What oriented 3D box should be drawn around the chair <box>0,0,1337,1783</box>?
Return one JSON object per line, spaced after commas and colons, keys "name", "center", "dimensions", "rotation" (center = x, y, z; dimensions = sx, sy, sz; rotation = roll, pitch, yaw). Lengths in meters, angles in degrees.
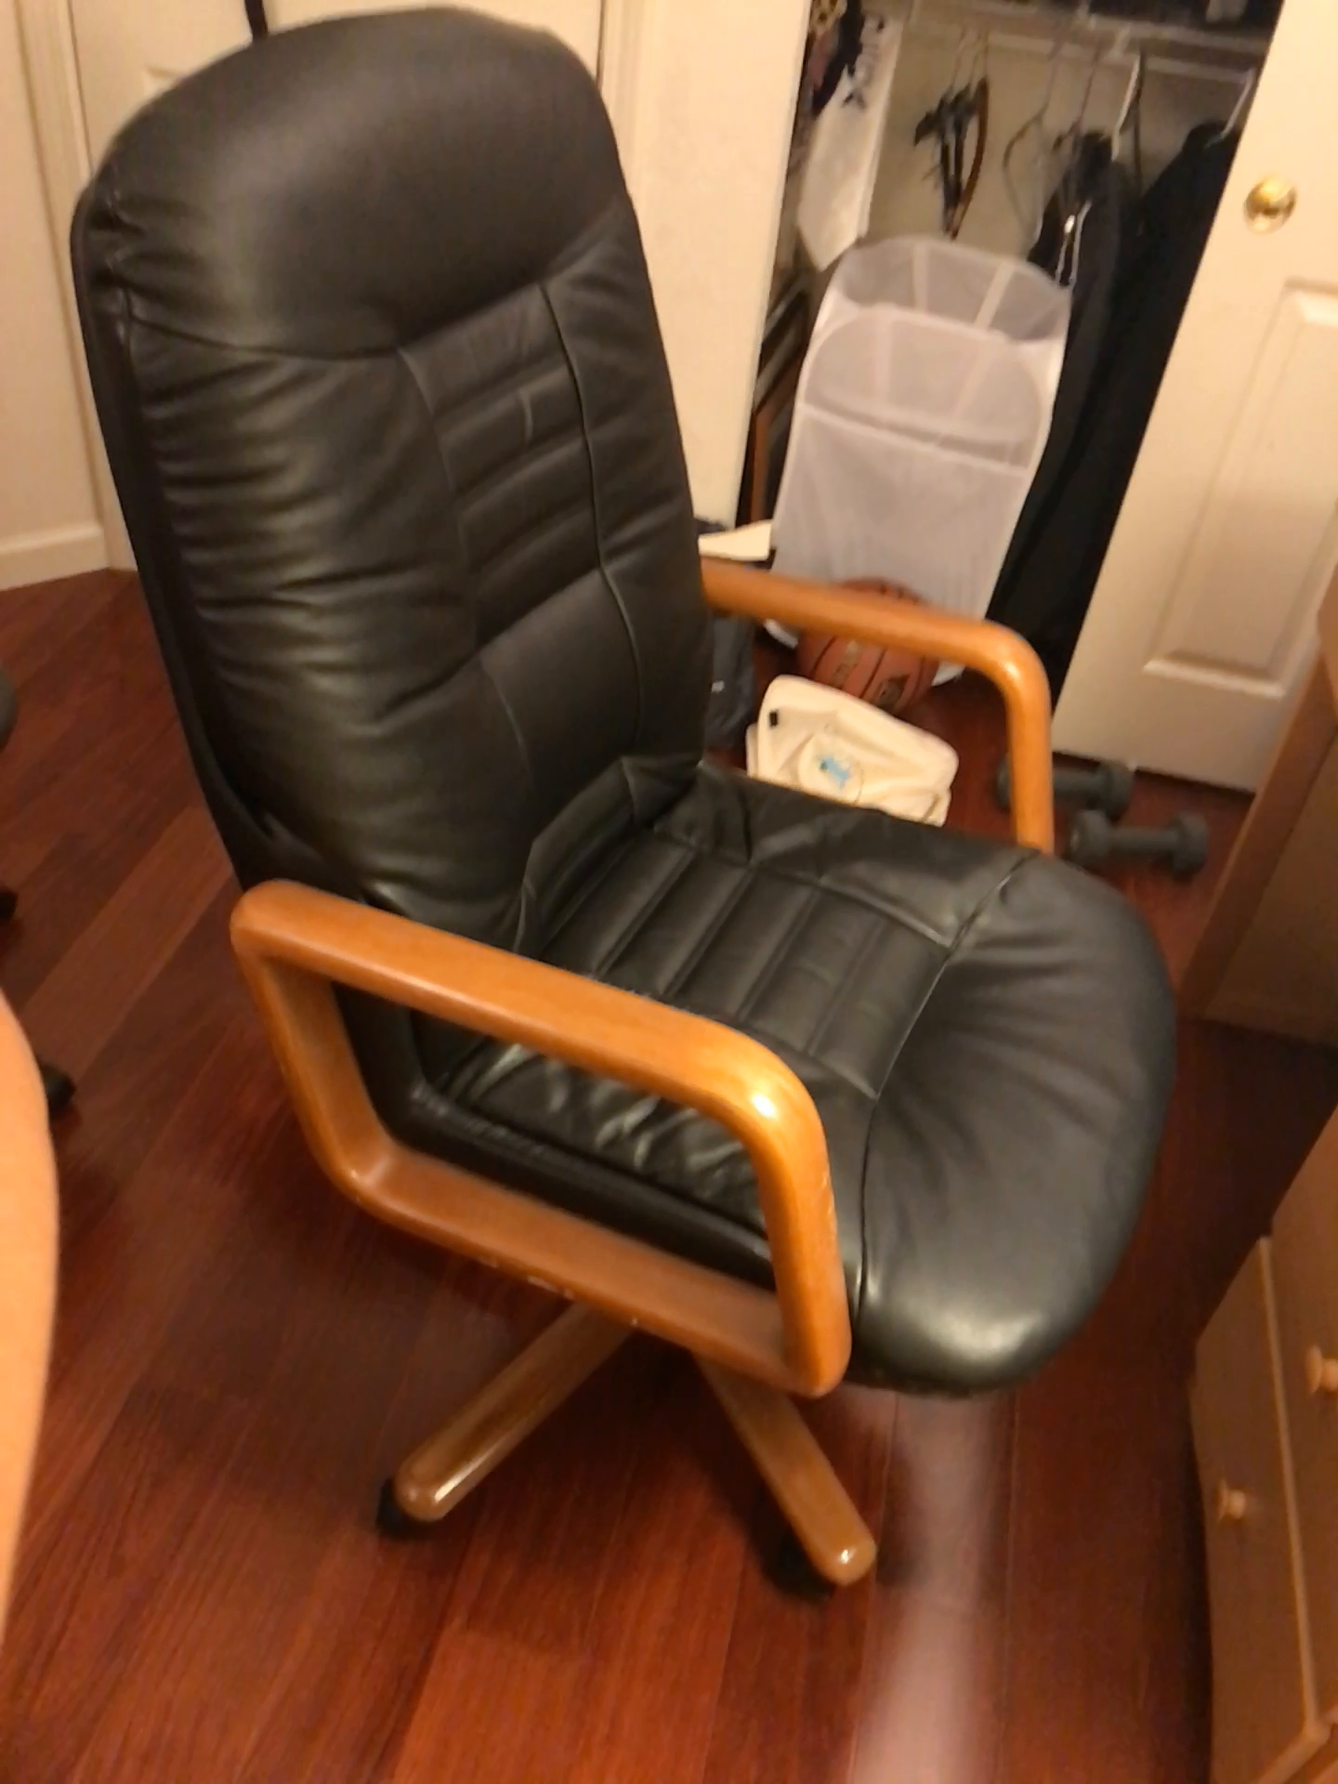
{"name": "chair", "center": [0.094, -0.049, 1.288], "dimensions": [0.850, 1.141, 0.997], "rotation": [22, 43, 16]}
